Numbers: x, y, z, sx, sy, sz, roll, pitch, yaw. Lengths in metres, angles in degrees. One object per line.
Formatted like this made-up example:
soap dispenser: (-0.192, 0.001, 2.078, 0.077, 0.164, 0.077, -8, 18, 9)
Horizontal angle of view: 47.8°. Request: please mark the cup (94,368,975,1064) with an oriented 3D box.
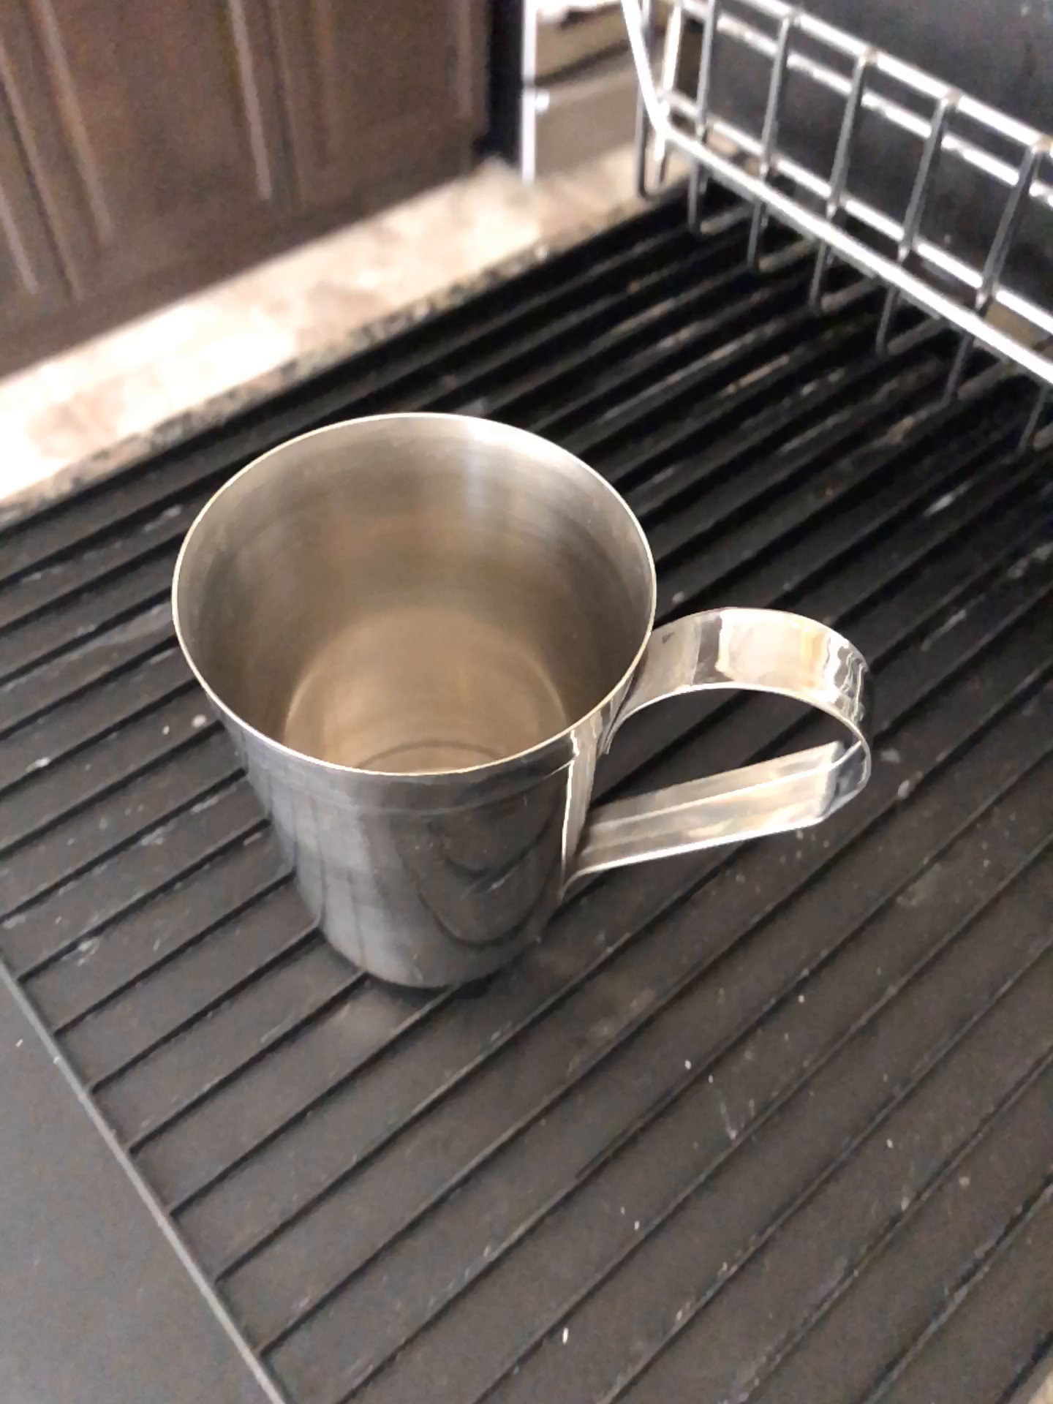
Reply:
cup: (0.002, 0.008, 0.206, 0.110, 0.097, 0.065, 6, 54, 3)
